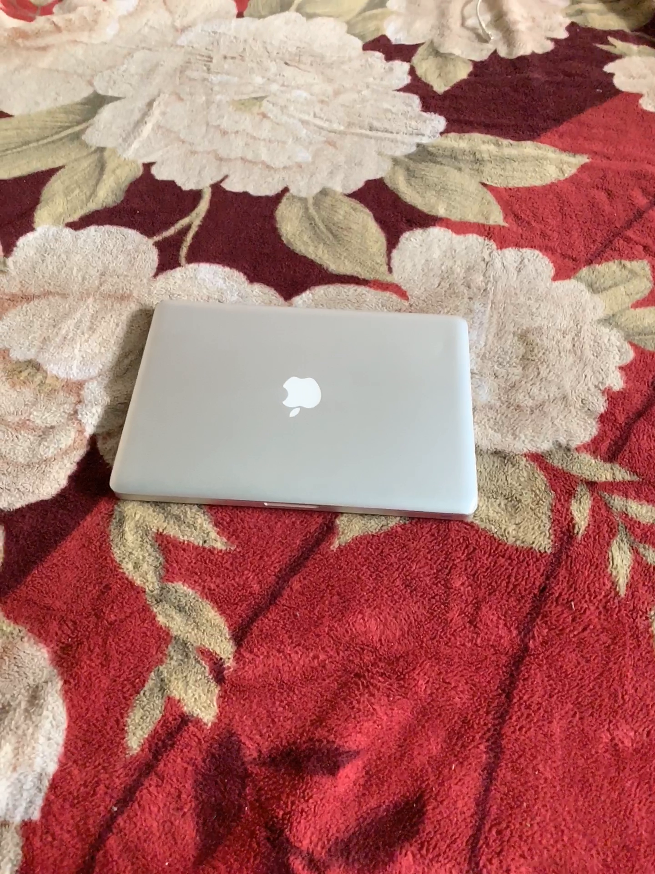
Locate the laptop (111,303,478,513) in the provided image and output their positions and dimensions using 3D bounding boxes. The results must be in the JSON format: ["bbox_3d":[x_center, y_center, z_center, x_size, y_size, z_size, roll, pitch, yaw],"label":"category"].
[{"bbox_3d":[-0.023,-0.036,0.616,0.310,0.001,0.210,3,60,2],"label":"laptop"}]
